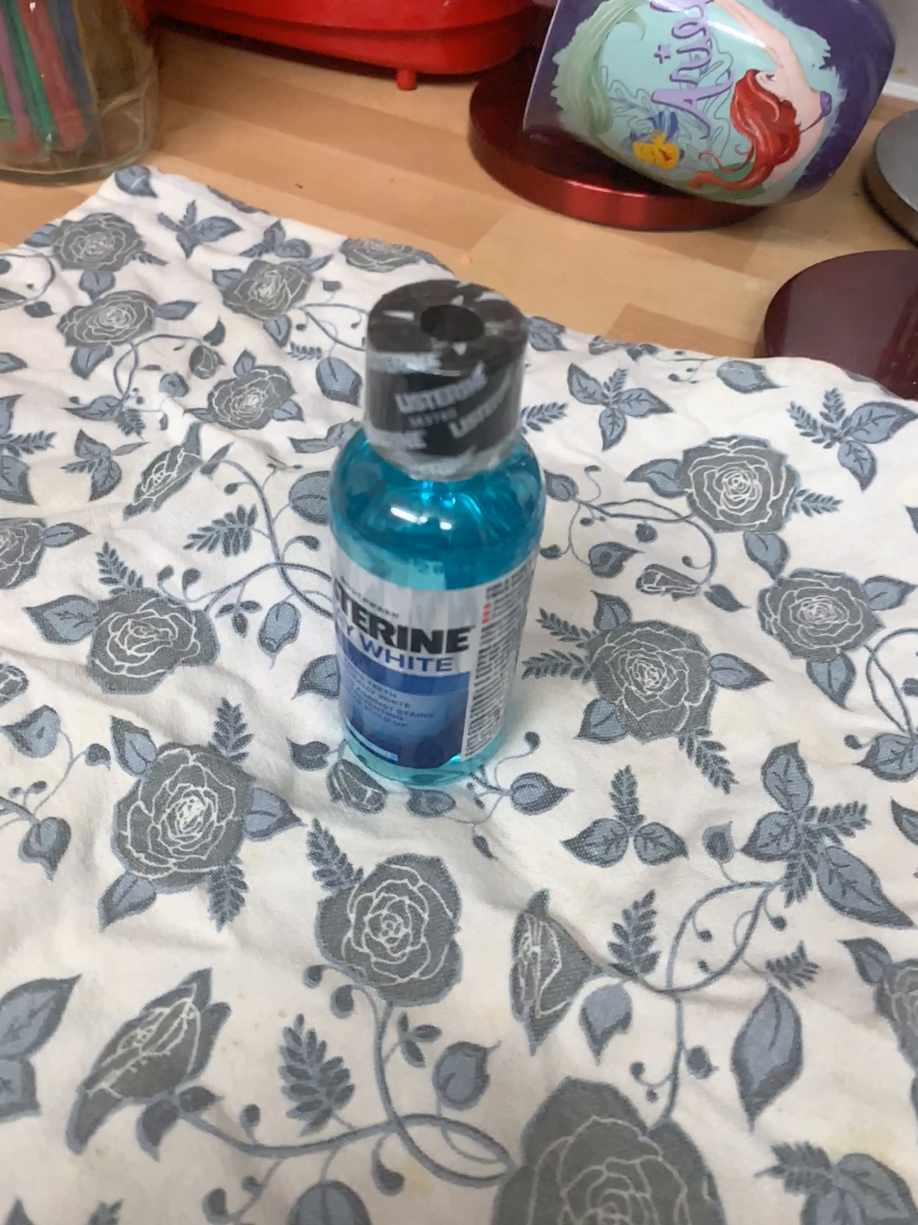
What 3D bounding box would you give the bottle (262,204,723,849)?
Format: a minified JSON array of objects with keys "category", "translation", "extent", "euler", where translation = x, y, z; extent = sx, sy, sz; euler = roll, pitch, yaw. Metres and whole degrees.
[{"category":"bottle","translation":[0.001,-0.010,0.186],"extent":[0.050,0.109,0.050],"euler":[3,51,-3]}]
